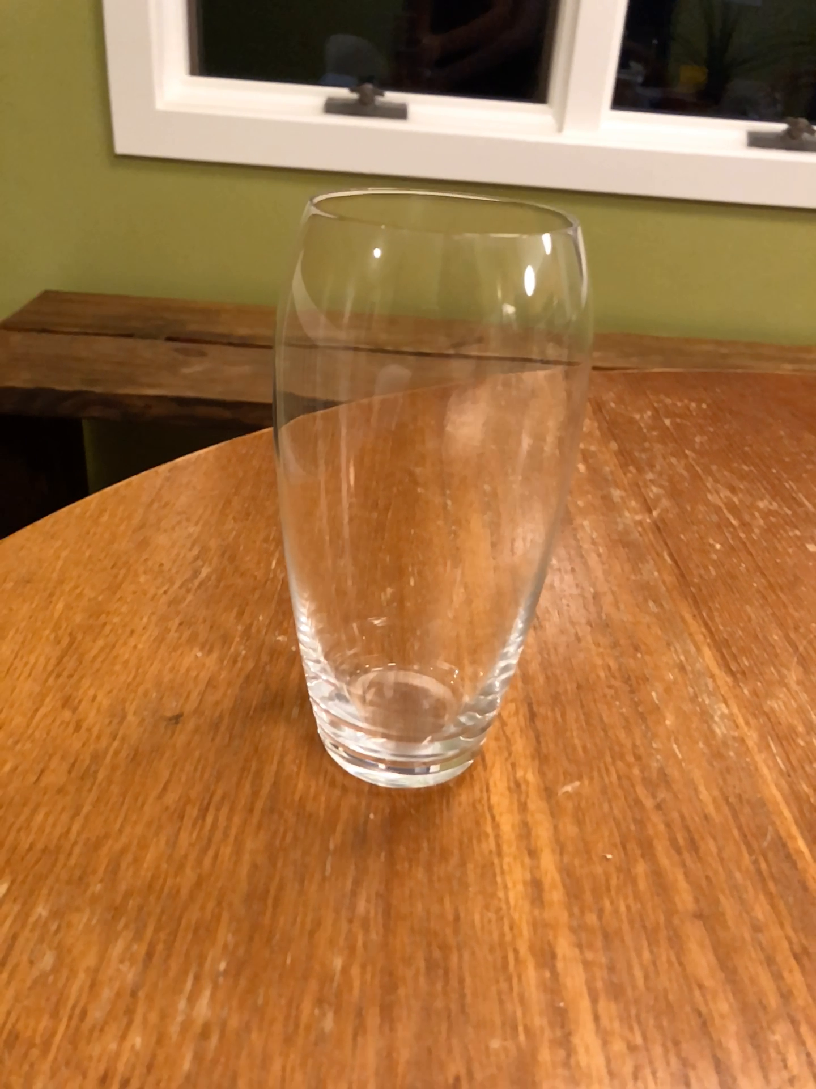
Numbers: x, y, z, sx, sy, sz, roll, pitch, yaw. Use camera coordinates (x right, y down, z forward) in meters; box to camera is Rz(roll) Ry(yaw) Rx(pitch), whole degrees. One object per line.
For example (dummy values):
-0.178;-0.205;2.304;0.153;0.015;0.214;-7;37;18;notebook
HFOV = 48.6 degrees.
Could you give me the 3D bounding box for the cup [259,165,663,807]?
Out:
0.004;-0.015;0.254;0.081;0.156;0.081;3;29;-2;cup
